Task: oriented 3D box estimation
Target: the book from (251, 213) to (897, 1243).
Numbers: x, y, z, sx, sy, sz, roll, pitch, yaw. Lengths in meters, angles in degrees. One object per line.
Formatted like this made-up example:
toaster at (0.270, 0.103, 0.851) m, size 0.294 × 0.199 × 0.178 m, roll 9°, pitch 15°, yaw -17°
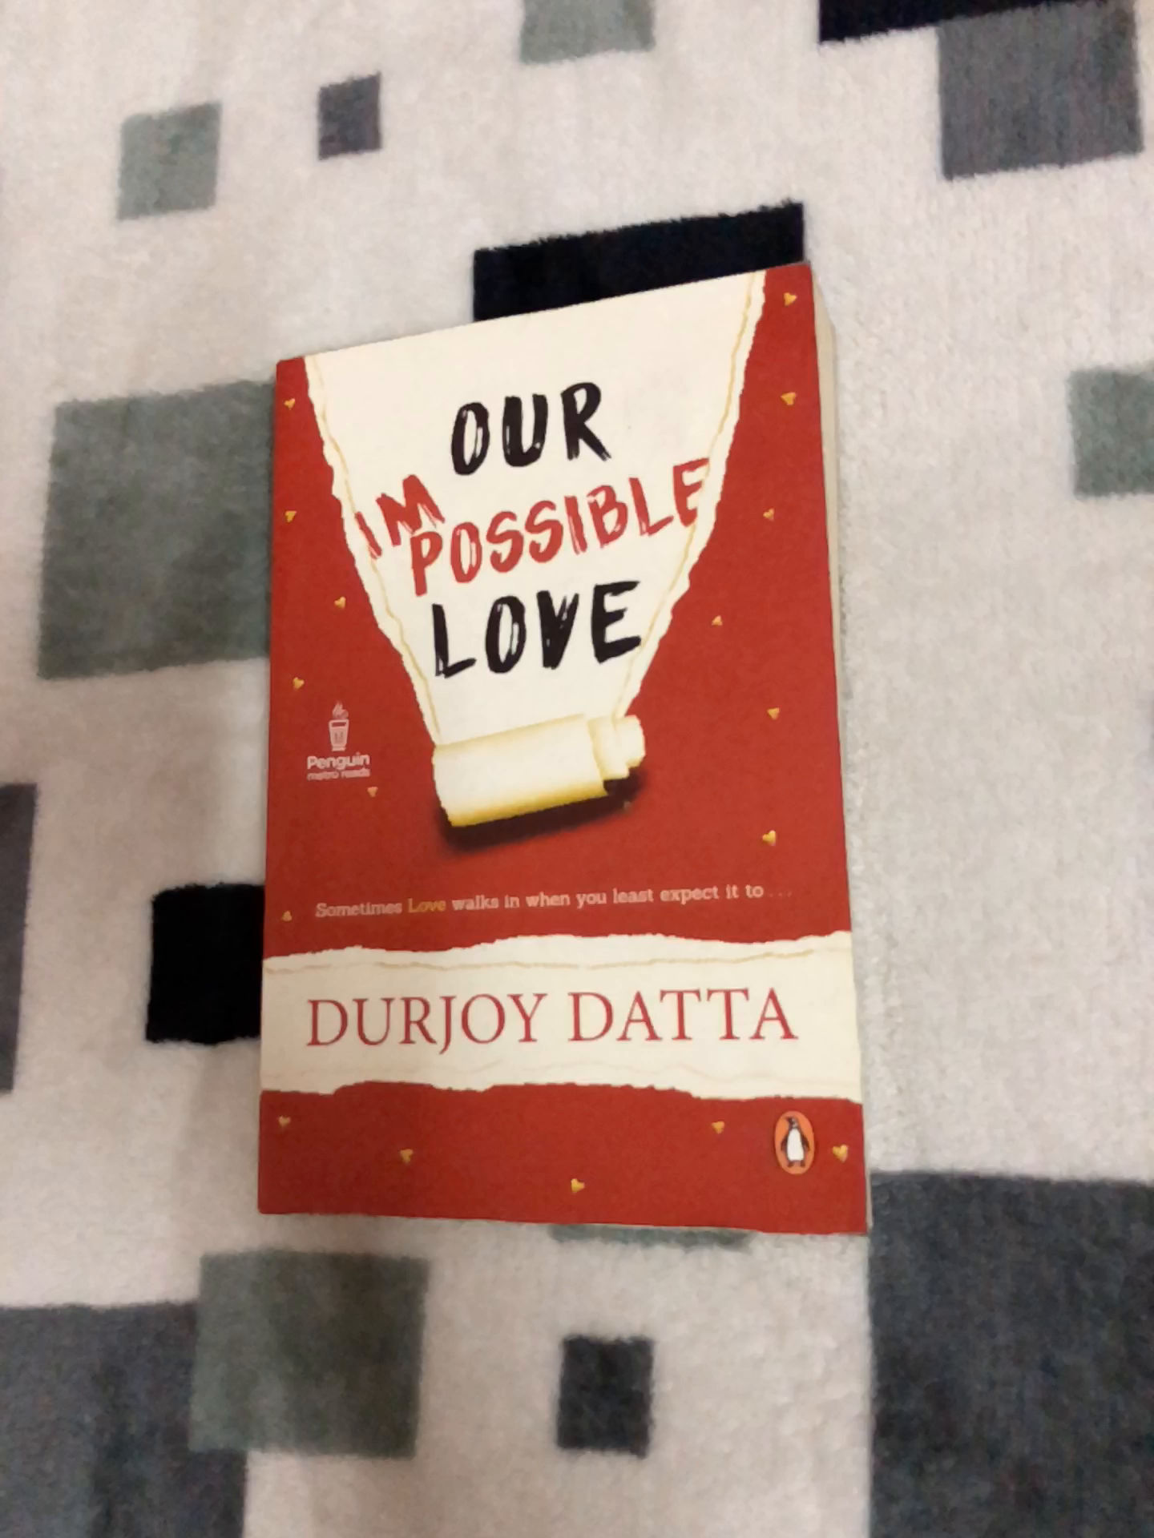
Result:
book at (-0.004, -0.007, 0.276) m, size 0.130 × 0.030 × 0.200 m, roll -4°, pitch 82°, yaw 16°
